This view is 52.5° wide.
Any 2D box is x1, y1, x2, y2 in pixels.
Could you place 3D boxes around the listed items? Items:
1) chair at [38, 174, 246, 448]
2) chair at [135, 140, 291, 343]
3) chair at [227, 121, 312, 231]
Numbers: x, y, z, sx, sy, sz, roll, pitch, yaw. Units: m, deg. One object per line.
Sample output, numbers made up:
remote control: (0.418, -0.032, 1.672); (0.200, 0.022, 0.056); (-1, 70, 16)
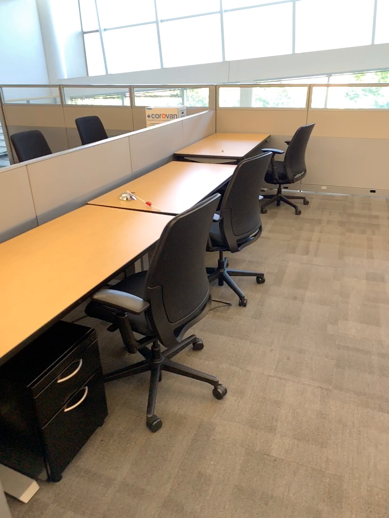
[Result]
chair: (-0.226, 0.220, 2.264); (0.762, 1.183, 0.753); (13, 29, 28)
chair: (0.136, -0.190, 2.941); (0.763, 1.183, 0.752); (22, 34, 40)
chair: (0.977, -1.147, 5.316); (0.763, 1.233, 0.752); (22, 34, 40)
